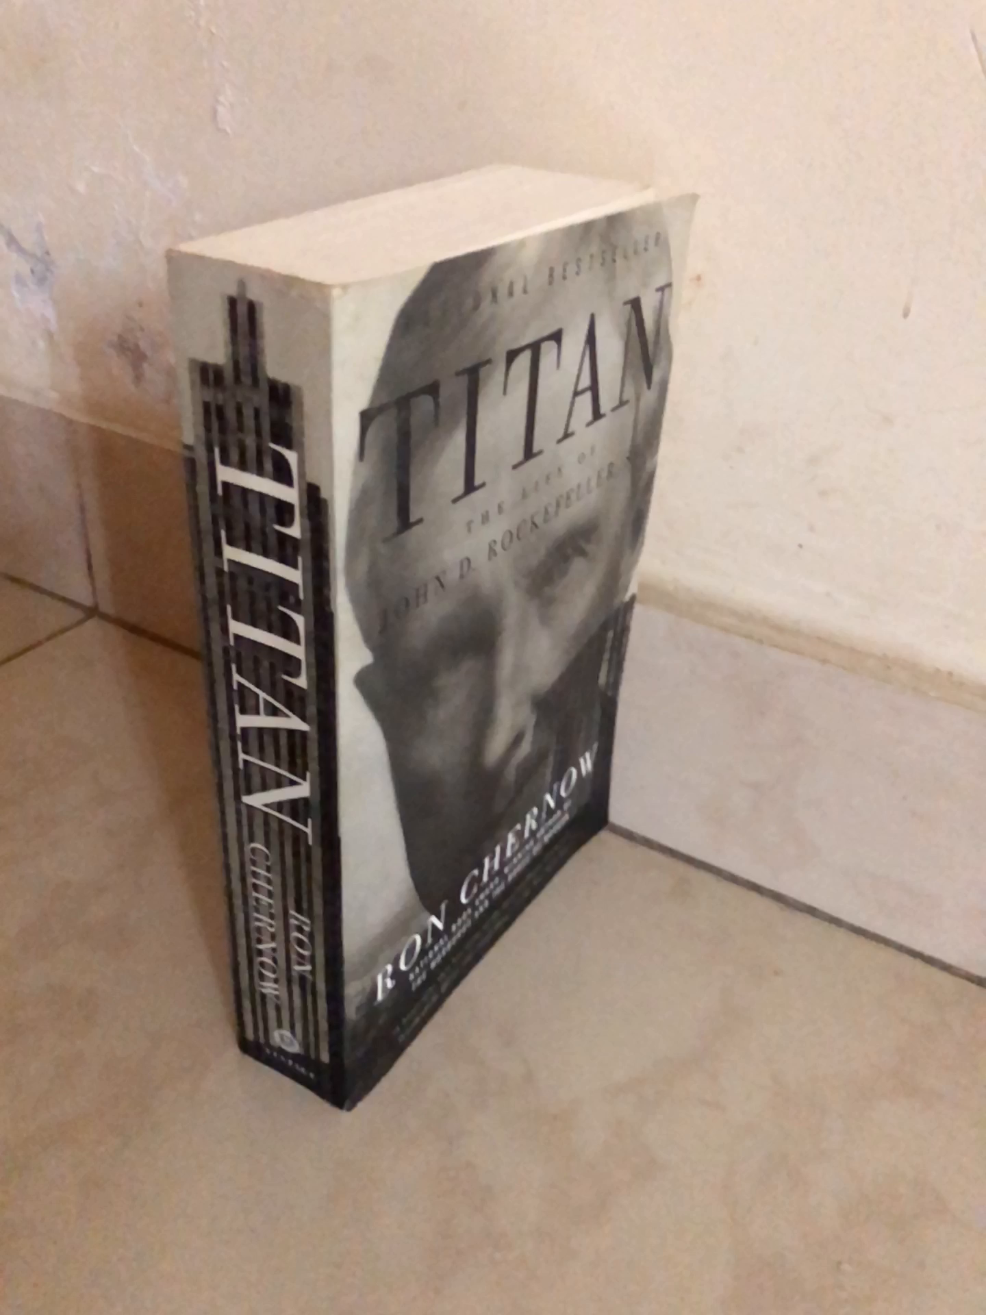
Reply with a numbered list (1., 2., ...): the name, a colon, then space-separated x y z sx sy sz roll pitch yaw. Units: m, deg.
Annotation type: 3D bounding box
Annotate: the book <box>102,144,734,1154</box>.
1. book: -0.007 -0.016 0.328 0.060 0.229 0.201 18 34 21
